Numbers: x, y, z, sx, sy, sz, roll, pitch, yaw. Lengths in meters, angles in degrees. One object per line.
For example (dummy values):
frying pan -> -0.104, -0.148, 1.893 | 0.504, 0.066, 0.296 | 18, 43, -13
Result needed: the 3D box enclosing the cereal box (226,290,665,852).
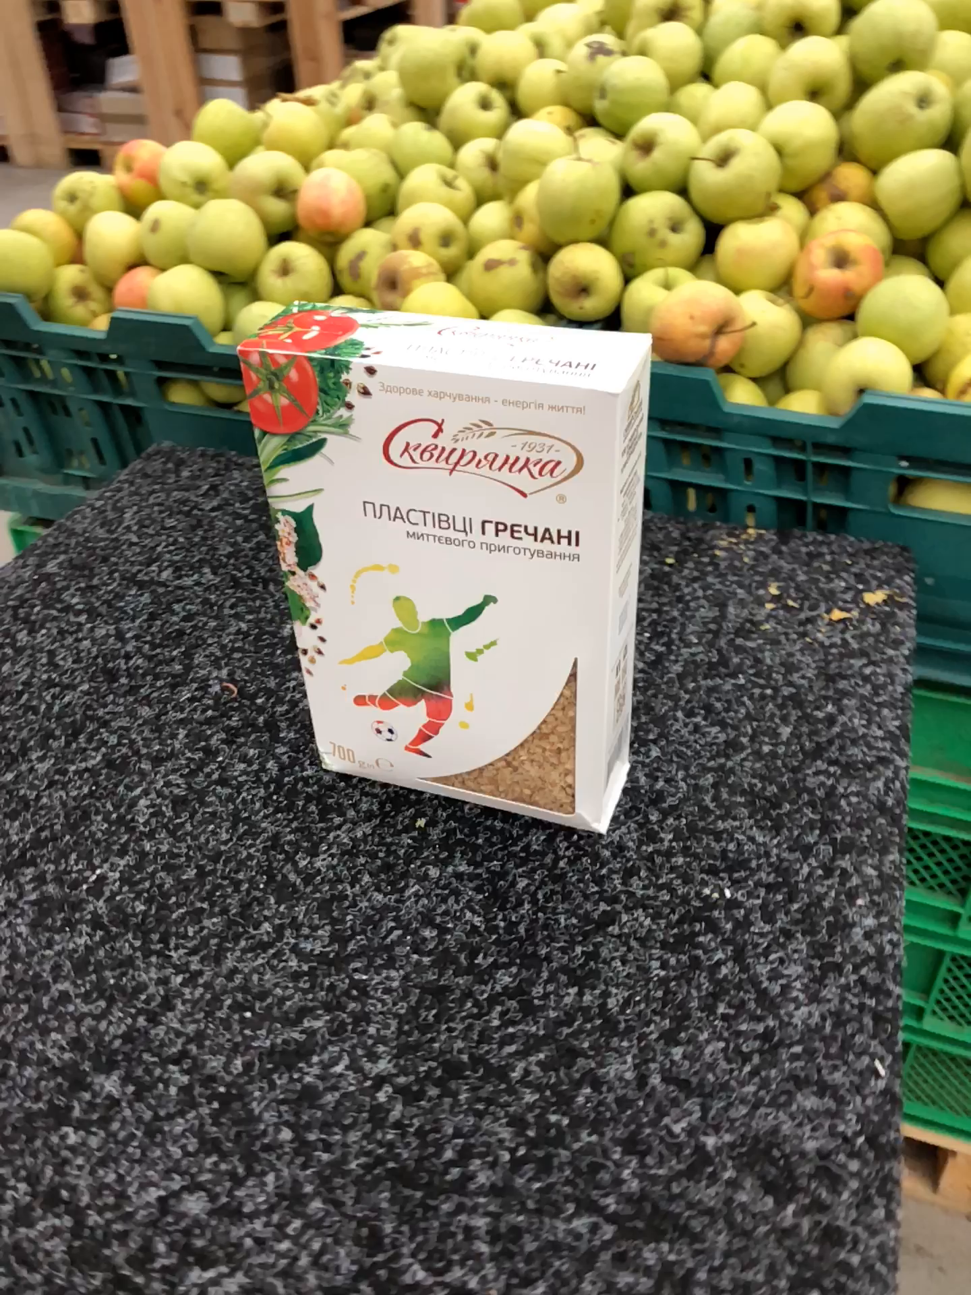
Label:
cereal box -> -0.011, -0.028, 0.488 | 0.160, 0.238, 0.060 | 11, 40, 17
